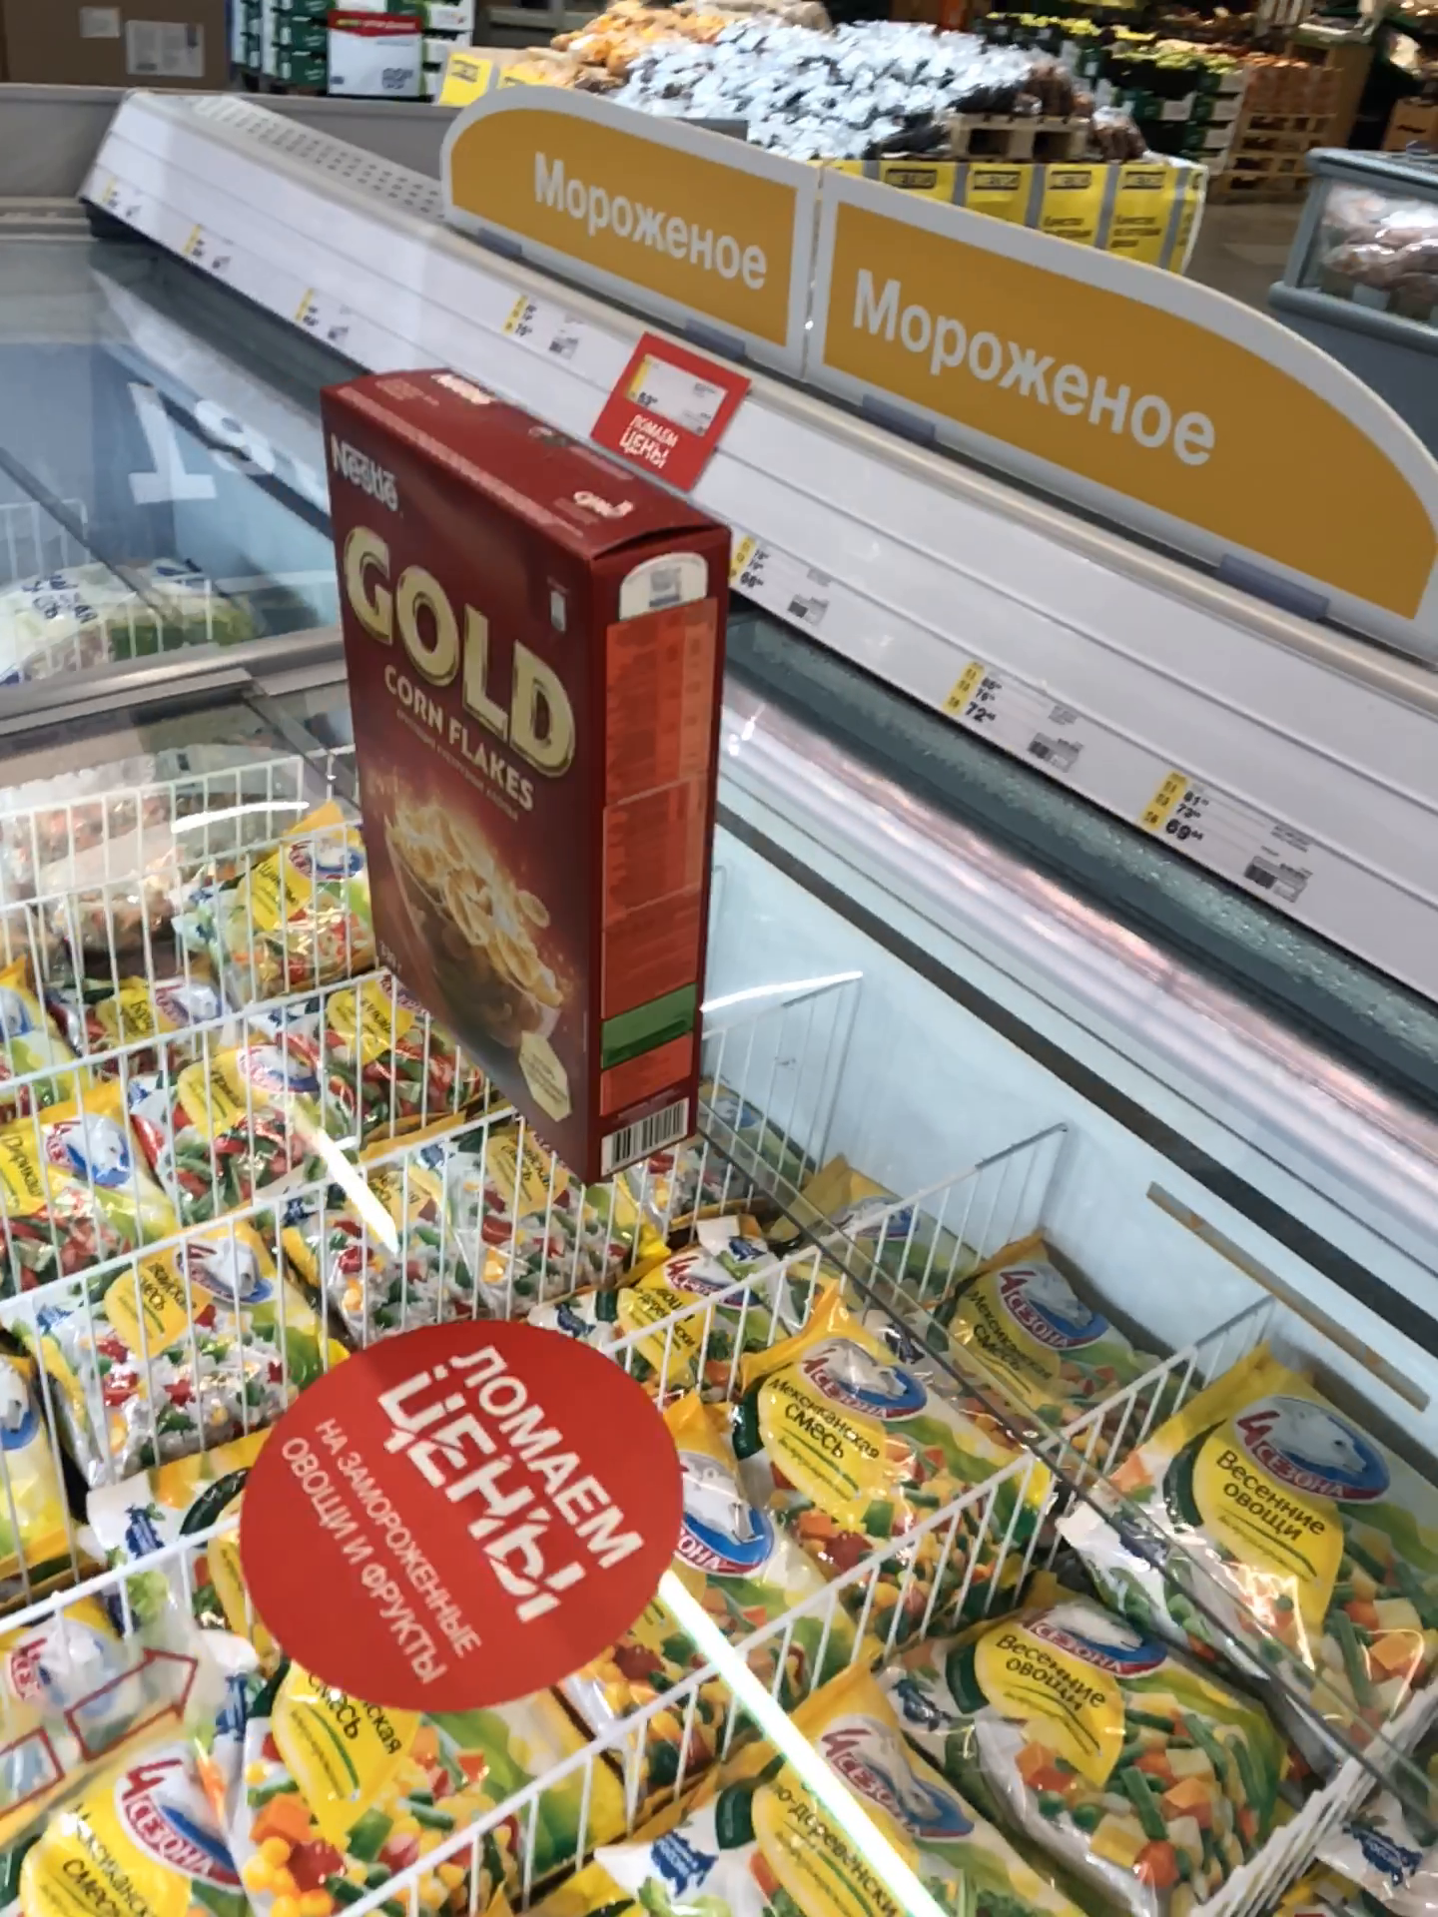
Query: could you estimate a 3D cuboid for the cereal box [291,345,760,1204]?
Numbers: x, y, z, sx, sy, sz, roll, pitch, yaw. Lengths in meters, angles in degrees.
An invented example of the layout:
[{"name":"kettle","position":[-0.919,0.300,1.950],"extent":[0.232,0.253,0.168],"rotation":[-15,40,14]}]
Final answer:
[{"name":"cereal box","position":[-0.080,-0.072,0.607],"extent":[0.060,0.258,0.211],"rotation":[-21,43,-29]}]
